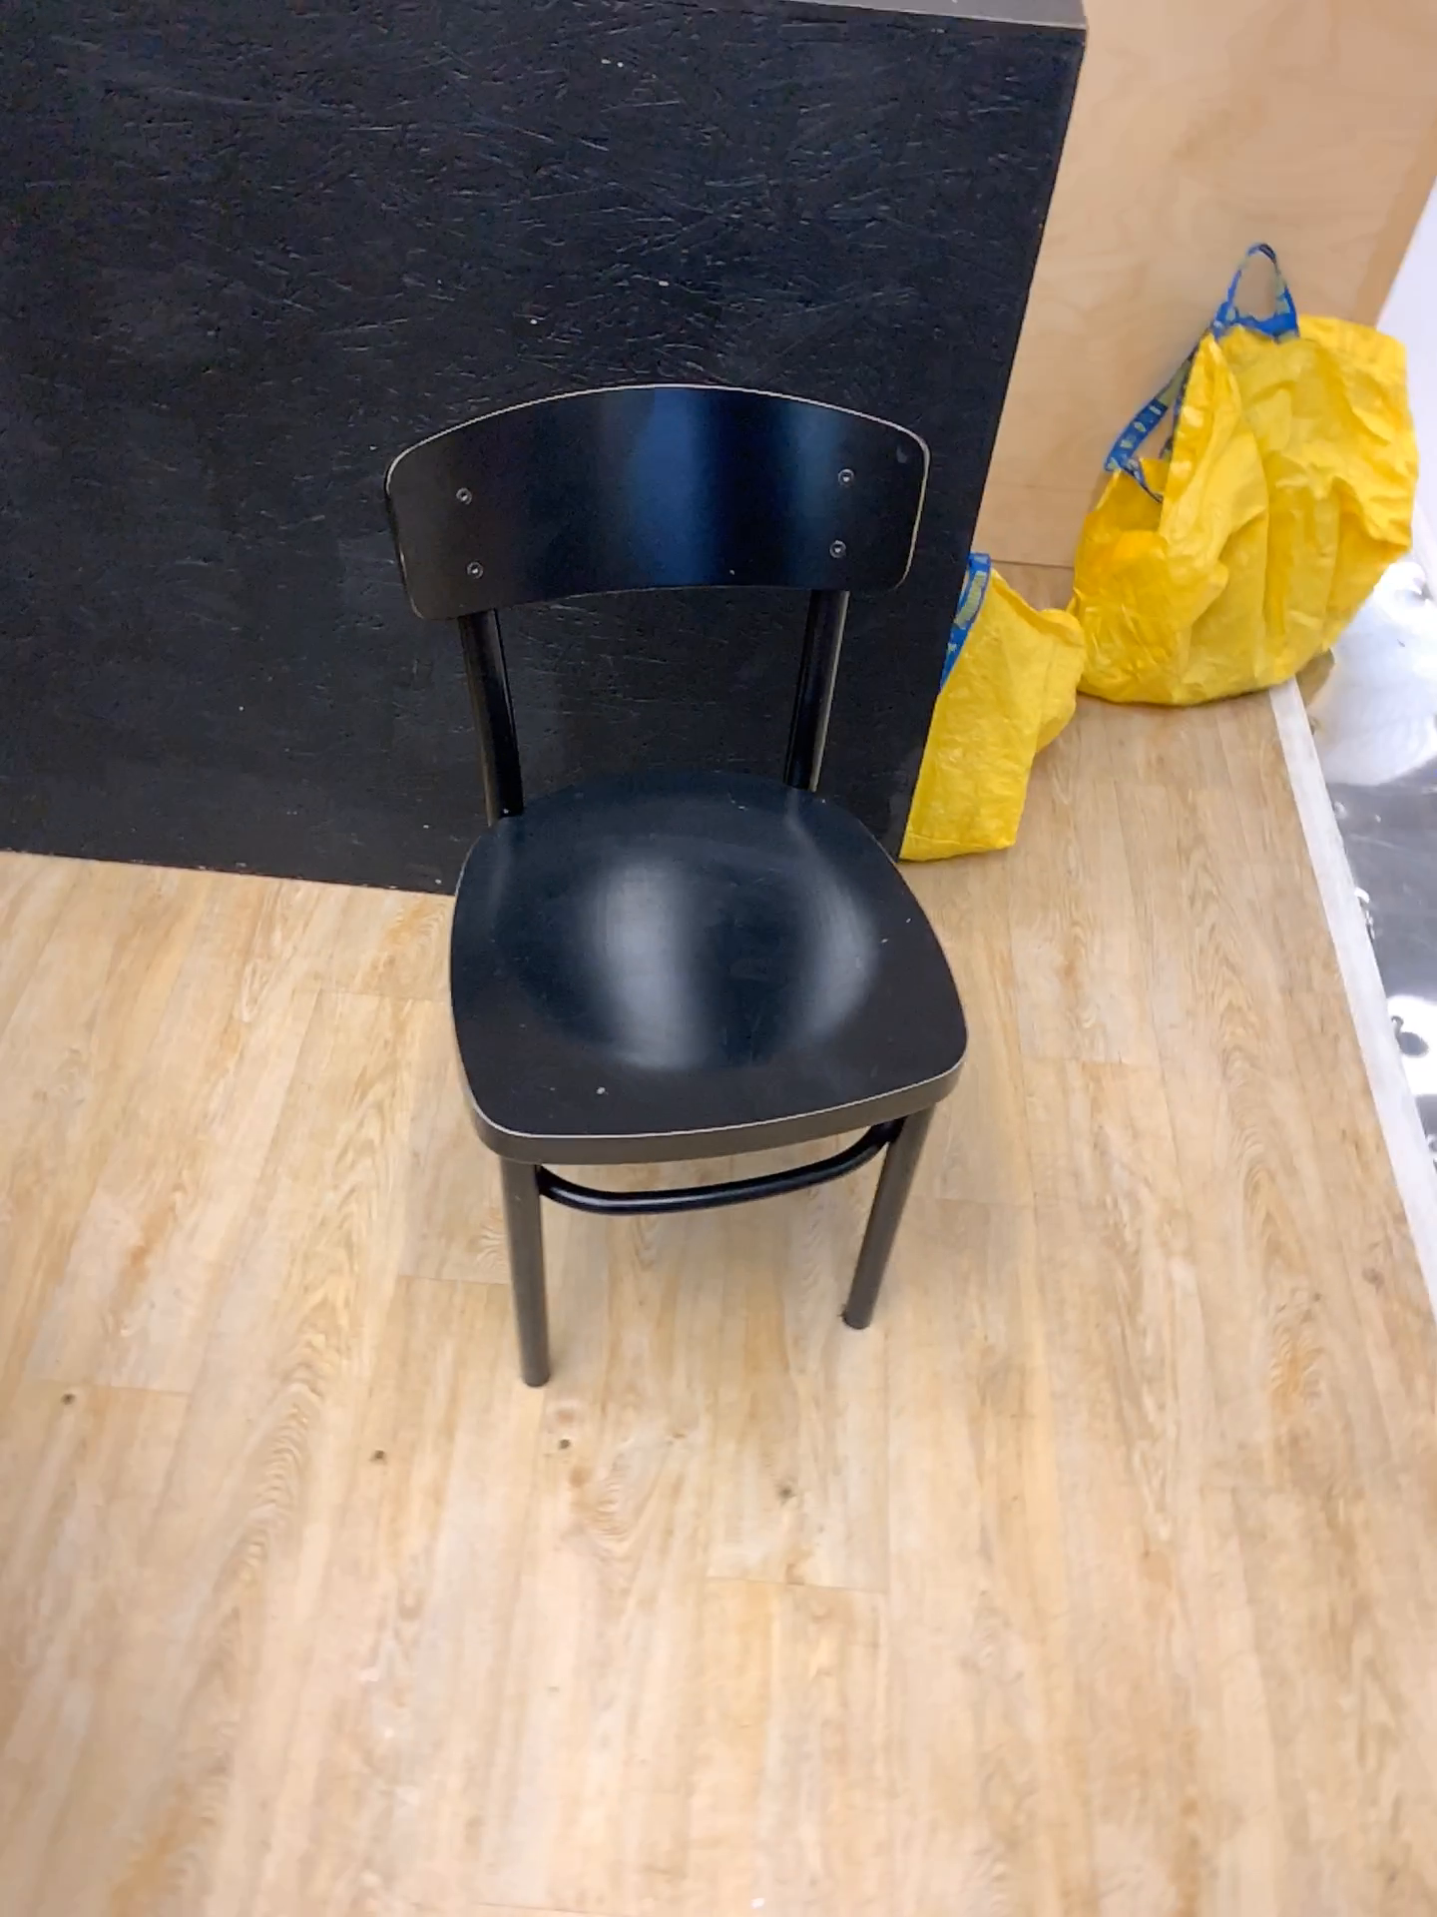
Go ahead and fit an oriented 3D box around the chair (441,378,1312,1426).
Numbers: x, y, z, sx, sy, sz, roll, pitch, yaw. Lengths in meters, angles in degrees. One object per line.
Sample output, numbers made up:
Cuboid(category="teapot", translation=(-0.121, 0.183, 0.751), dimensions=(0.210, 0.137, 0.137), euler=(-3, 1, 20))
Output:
Cuboid(category="chair", translation=(0.040, -0.021, 1.179), dimensions=(0.440, 0.698, 0.441), euler=(-7, 49, -13))
